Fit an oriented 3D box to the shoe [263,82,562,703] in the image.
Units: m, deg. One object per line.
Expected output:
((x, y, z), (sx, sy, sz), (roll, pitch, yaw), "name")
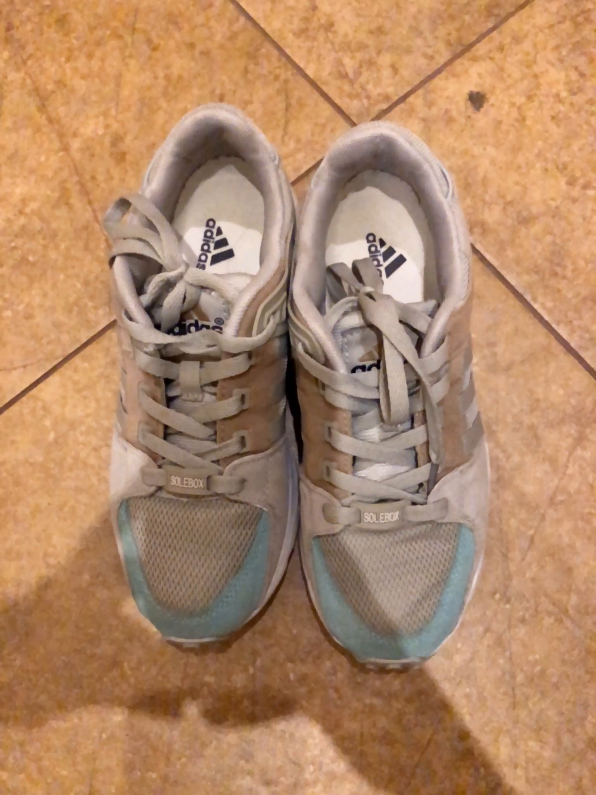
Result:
((0.043, -0.005, 0.315), (0.108, 0.080, 0.260), (-2, 79, 2), "shoe")

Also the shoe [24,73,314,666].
((-0.050, -0.016, 0.324), (0.110, 0.080, 0.260), (1, 79, 3), "shoe")
